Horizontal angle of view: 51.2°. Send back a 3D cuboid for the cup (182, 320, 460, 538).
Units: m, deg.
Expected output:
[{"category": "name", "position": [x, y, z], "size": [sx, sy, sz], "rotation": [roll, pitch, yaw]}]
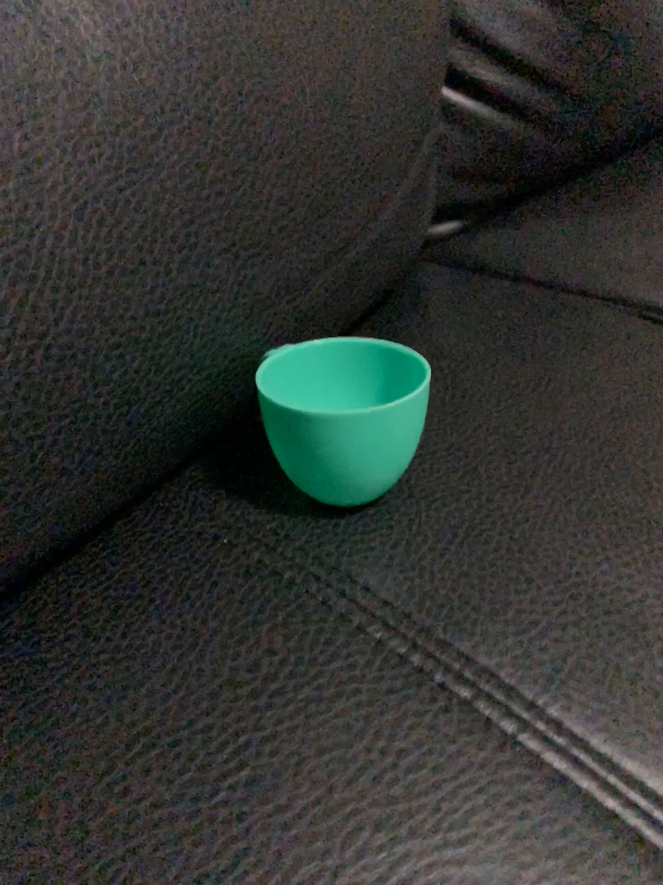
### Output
[{"category": "cup", "position": [-0.004, -0.009, 0.200], "size": [0.053, 0.030, 0.063], "rotation": [-20, 29, -26]}]
